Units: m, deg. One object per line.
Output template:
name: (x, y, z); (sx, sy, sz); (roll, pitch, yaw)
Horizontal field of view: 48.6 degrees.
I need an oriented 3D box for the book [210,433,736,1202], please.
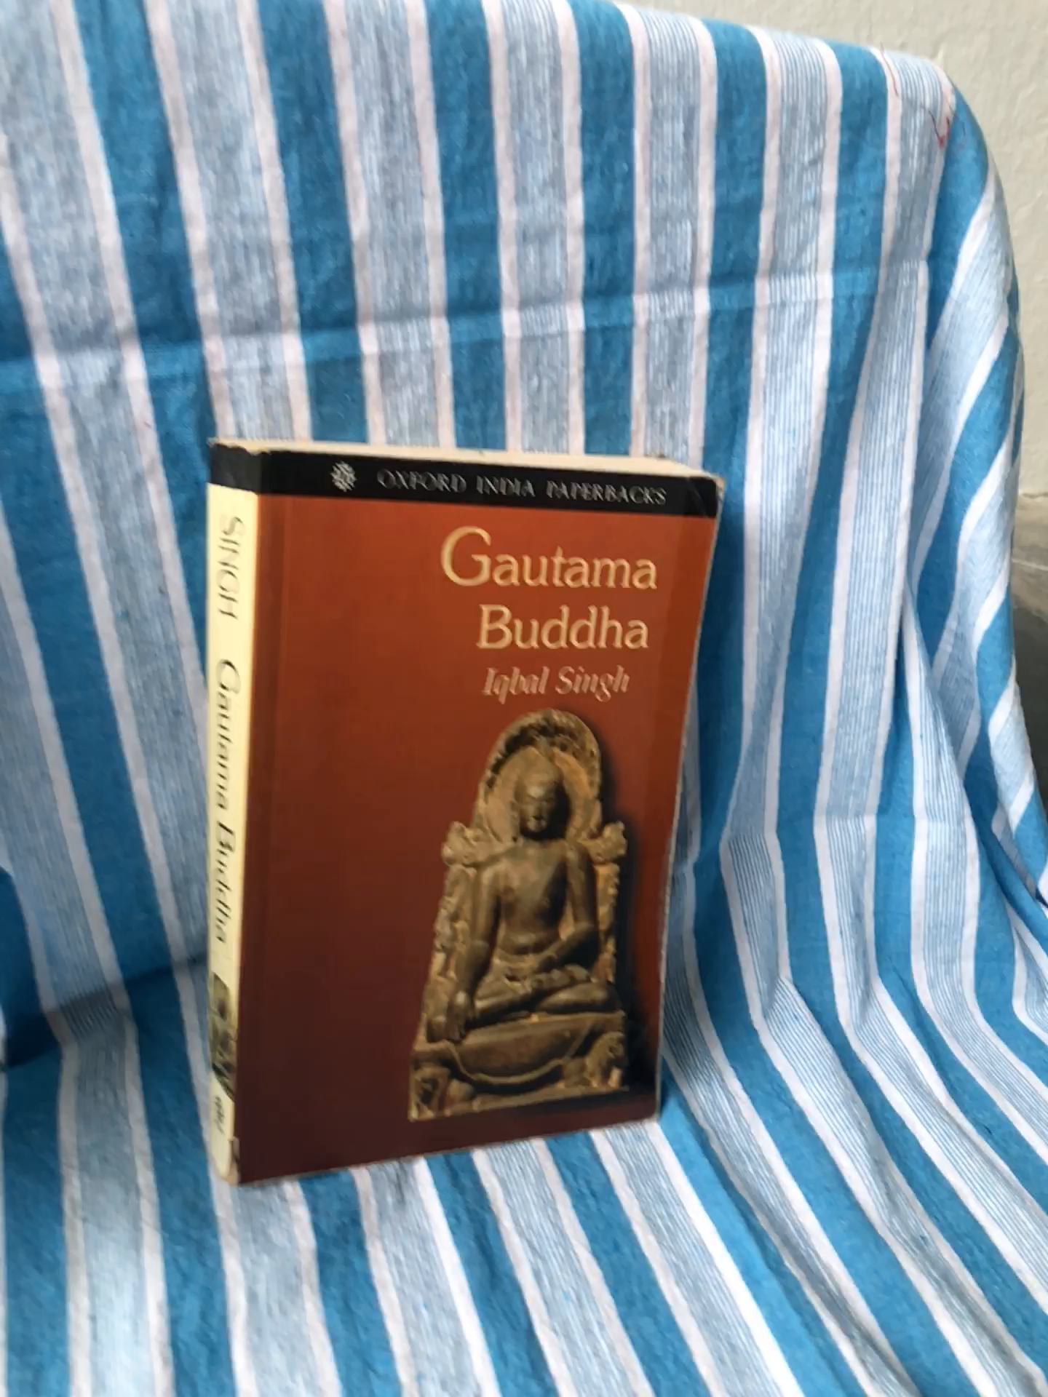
book: (-0.018, 0.032, 0.345); (0.140, 0.209, 0.040); (-2, 14, -20)
